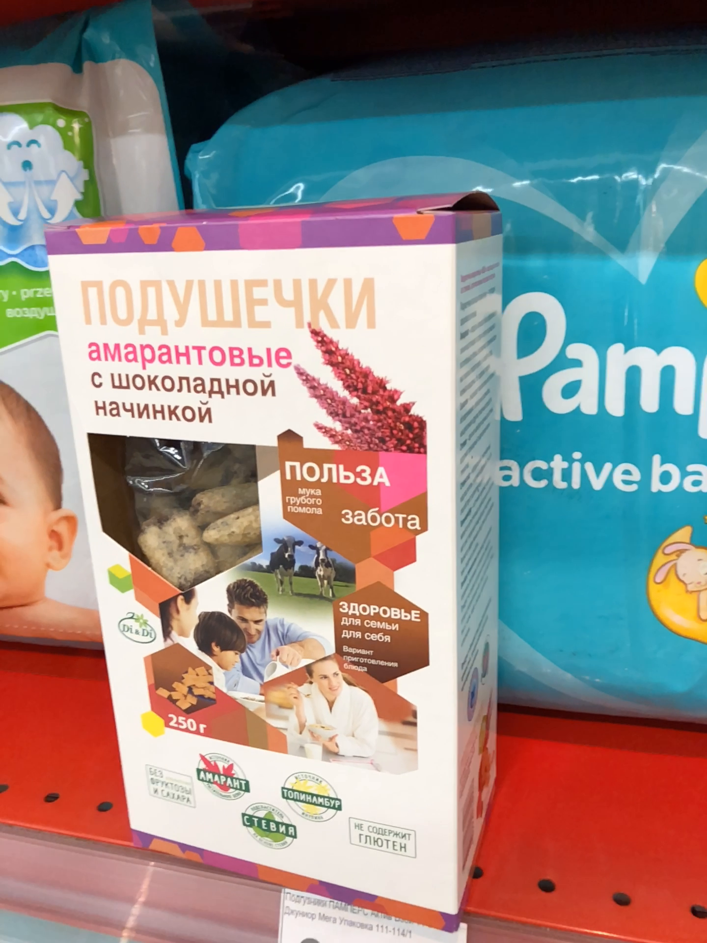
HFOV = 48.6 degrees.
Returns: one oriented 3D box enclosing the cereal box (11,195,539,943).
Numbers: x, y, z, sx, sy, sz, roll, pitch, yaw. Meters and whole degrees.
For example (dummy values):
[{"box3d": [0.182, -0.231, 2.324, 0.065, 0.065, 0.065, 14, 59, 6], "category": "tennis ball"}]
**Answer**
[{"box3d": [-0.017, 0.026, 0.265, 0.140, 0.219, 0.070, 4, 19, 21], "category": "cereal box"}]
